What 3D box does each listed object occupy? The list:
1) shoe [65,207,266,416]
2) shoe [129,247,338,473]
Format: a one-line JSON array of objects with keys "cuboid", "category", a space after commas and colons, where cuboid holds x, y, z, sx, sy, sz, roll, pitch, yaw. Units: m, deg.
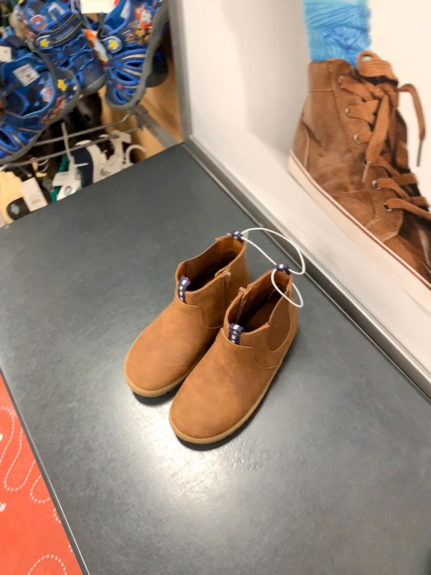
[{"cuboid": [-0.043, 0.023, 0.473, 0.086, 0.100, 0.190, 36, 64, 23], "category": "shoe"}, {"cuboid": [0.023, 0.069, 0.443, 0.086, 0.100, 0.190, 36, 64, 23], "category": "shoe"}]
